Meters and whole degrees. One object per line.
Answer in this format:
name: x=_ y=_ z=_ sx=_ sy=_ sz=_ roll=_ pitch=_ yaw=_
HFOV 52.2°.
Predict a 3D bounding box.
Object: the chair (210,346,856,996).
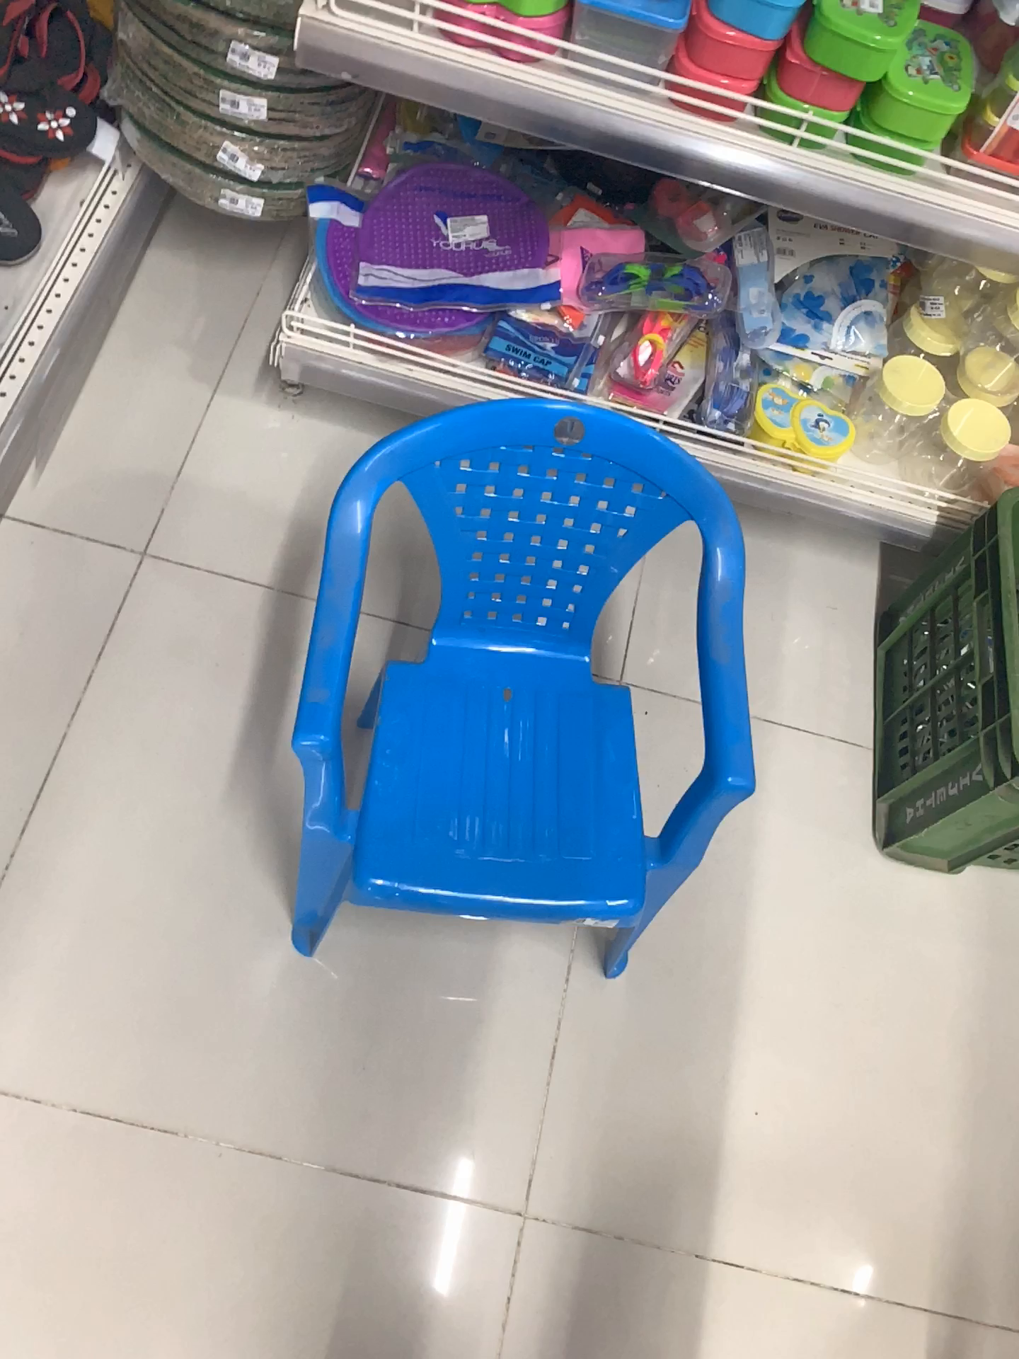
chair: x=-0.005 y=0.047 z=0.937 sx=0.400 sy=0.509 sz=0.360 roll=7 pitch=65 yaw=-6
